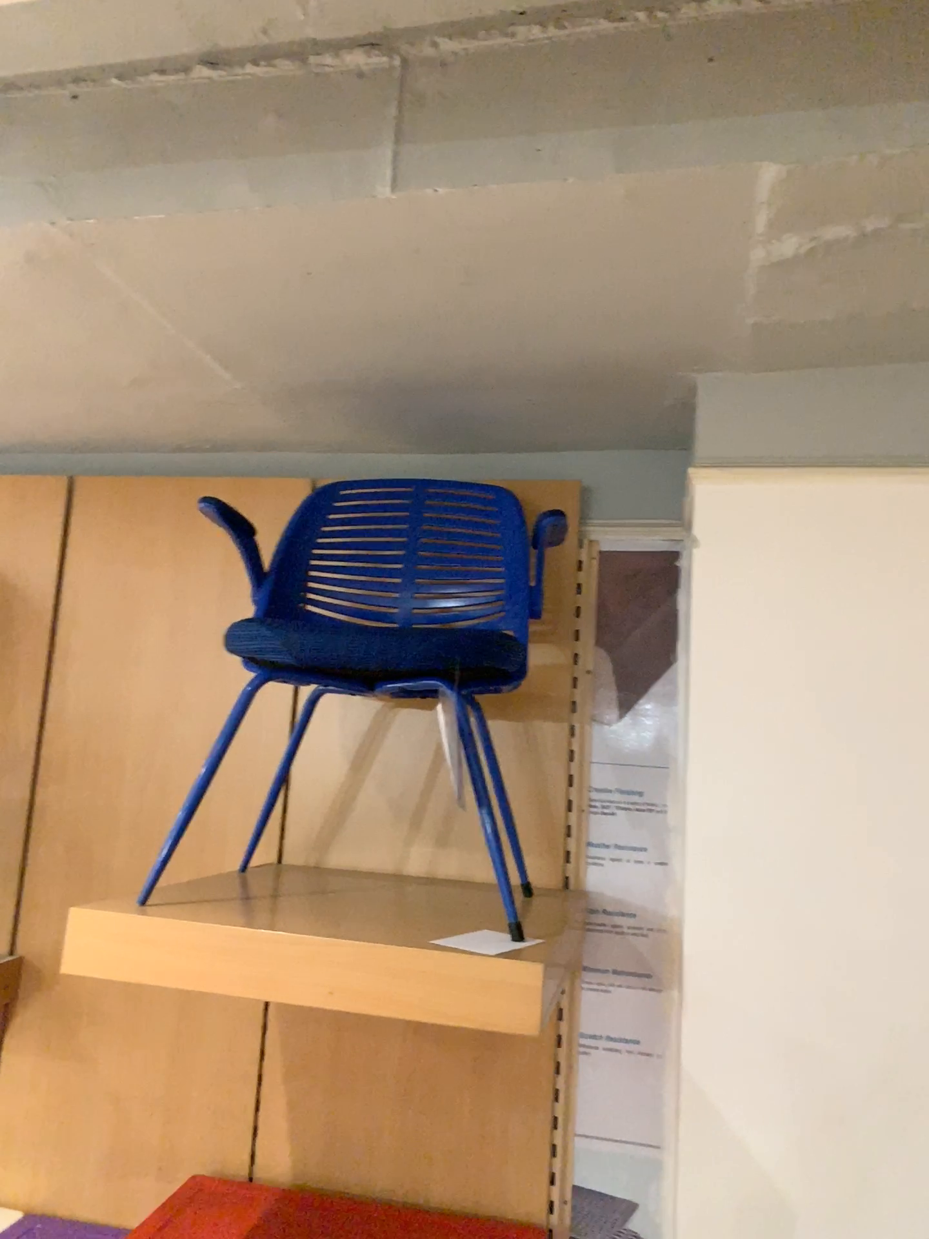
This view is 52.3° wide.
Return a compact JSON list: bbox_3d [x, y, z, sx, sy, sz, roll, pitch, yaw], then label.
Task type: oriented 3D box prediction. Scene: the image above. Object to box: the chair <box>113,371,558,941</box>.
[{"bbox_3d":[-0.153,0.063,1.621,0.570,0.791,0.549,2,-8,8],"label":"chair"}]
